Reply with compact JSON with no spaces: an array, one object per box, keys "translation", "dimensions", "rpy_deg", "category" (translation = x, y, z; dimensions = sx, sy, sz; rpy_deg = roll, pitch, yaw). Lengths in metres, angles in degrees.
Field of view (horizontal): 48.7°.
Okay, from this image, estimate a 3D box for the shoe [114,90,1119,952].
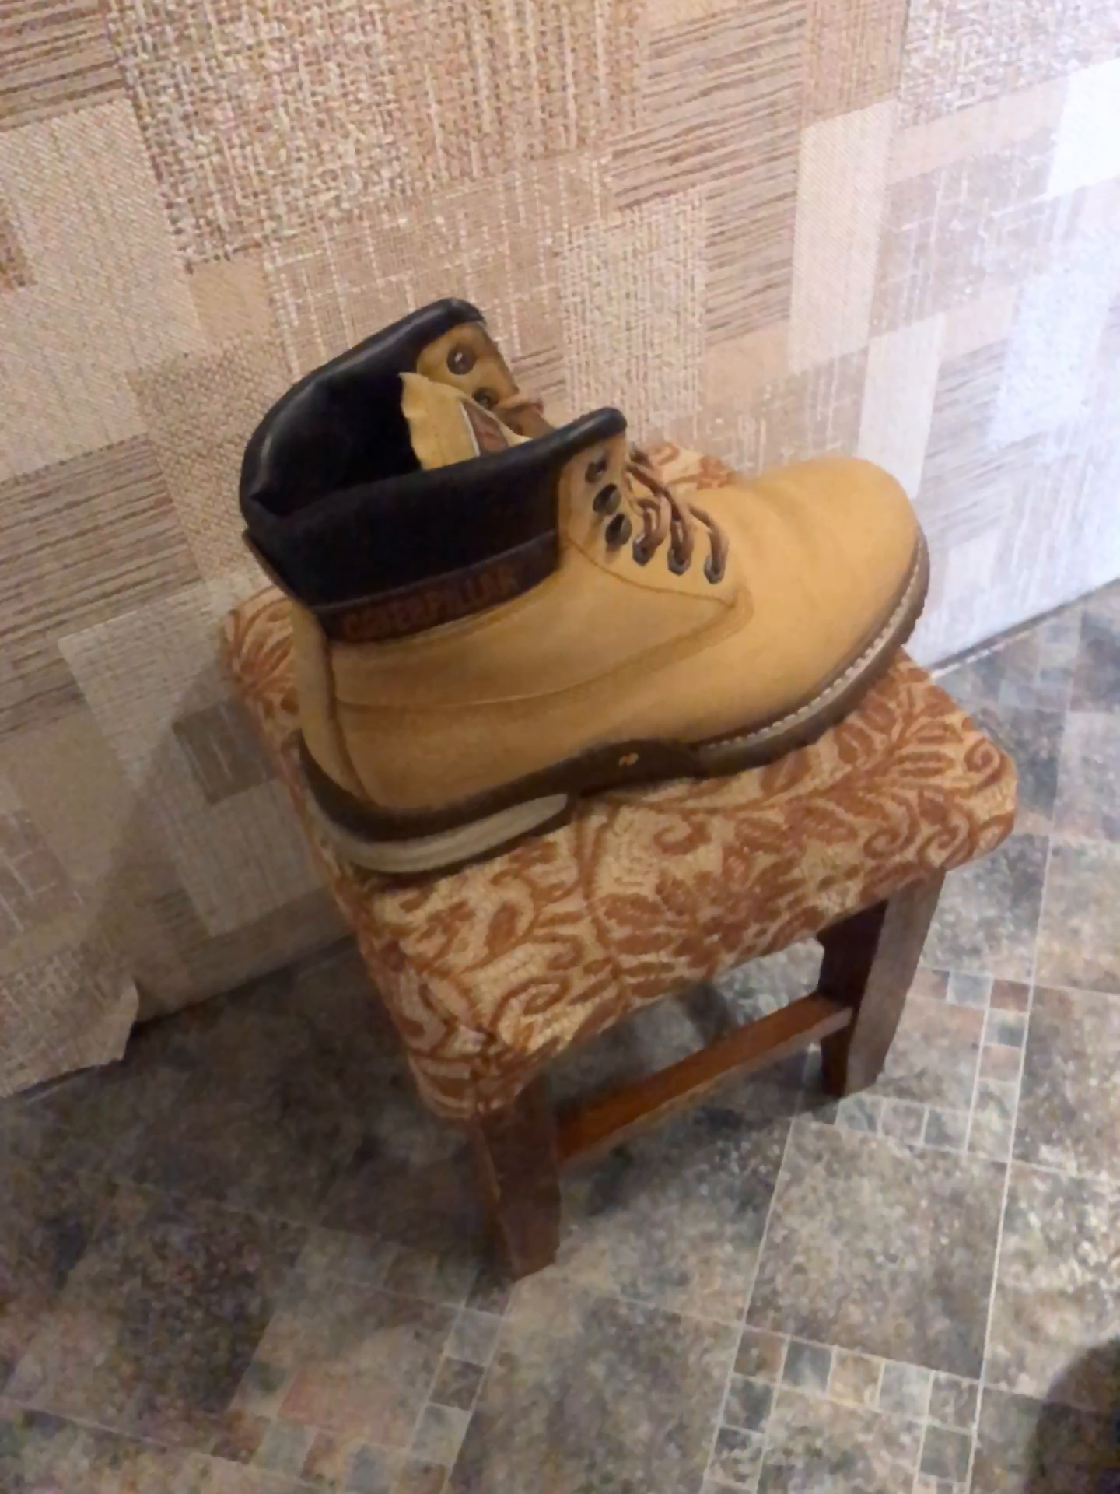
[{"translation":[0.029,-0.092,0.477],"dimensions":[0.310,0.189,0.141],"rpy_deg":[-24,51,-16],"category":"shoe"}]
